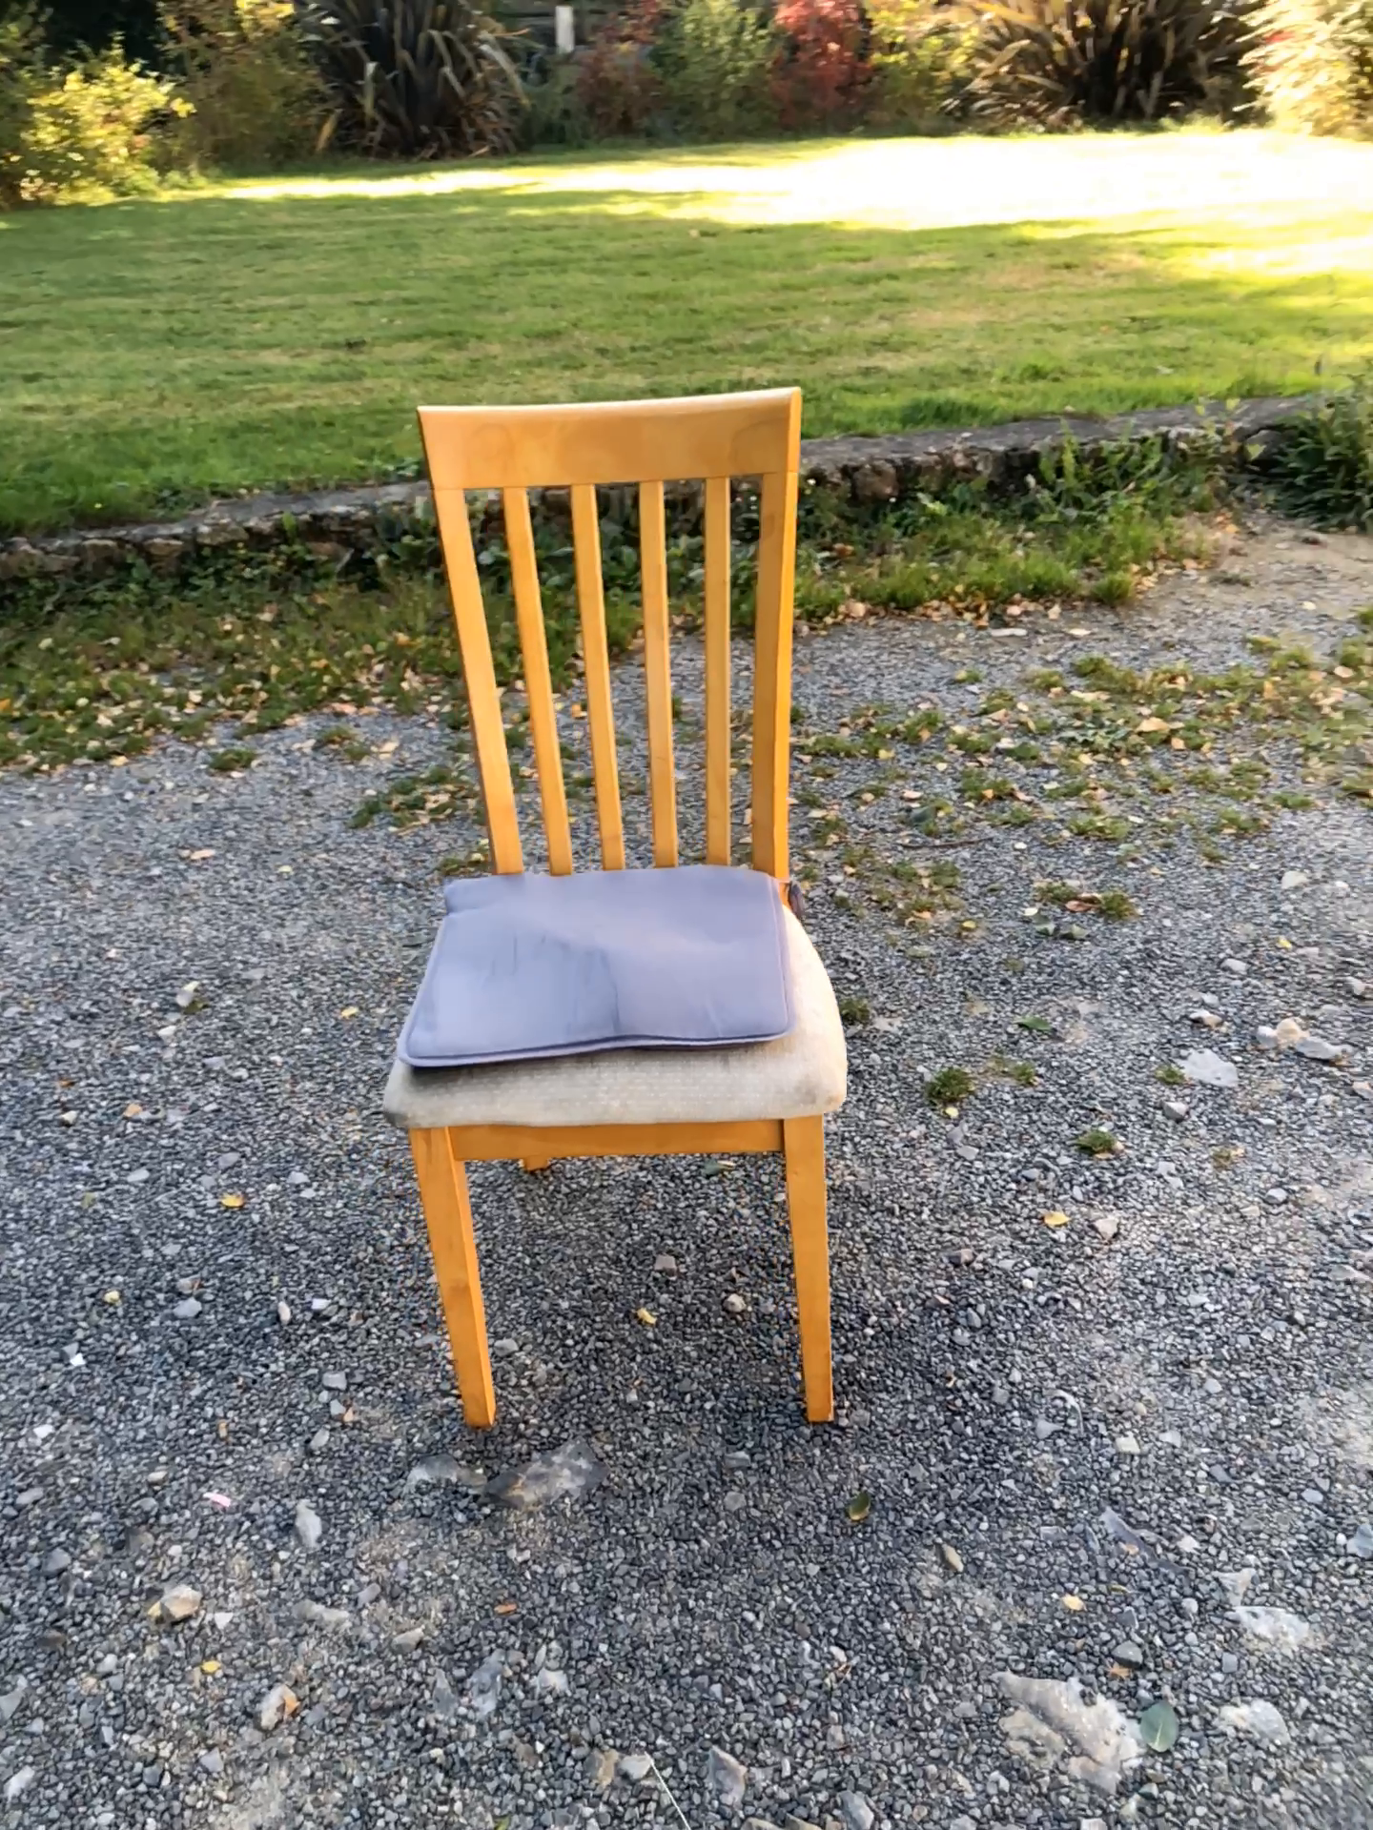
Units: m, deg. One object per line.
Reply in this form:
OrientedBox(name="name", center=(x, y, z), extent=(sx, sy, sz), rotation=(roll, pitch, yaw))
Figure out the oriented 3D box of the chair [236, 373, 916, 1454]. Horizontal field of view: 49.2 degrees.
OrientedBox(name="chair", center=(-0.071, -0.007, 1.635), extent=(0.510, 0.994, 0.614), rotation=(-1, 30, 1))
